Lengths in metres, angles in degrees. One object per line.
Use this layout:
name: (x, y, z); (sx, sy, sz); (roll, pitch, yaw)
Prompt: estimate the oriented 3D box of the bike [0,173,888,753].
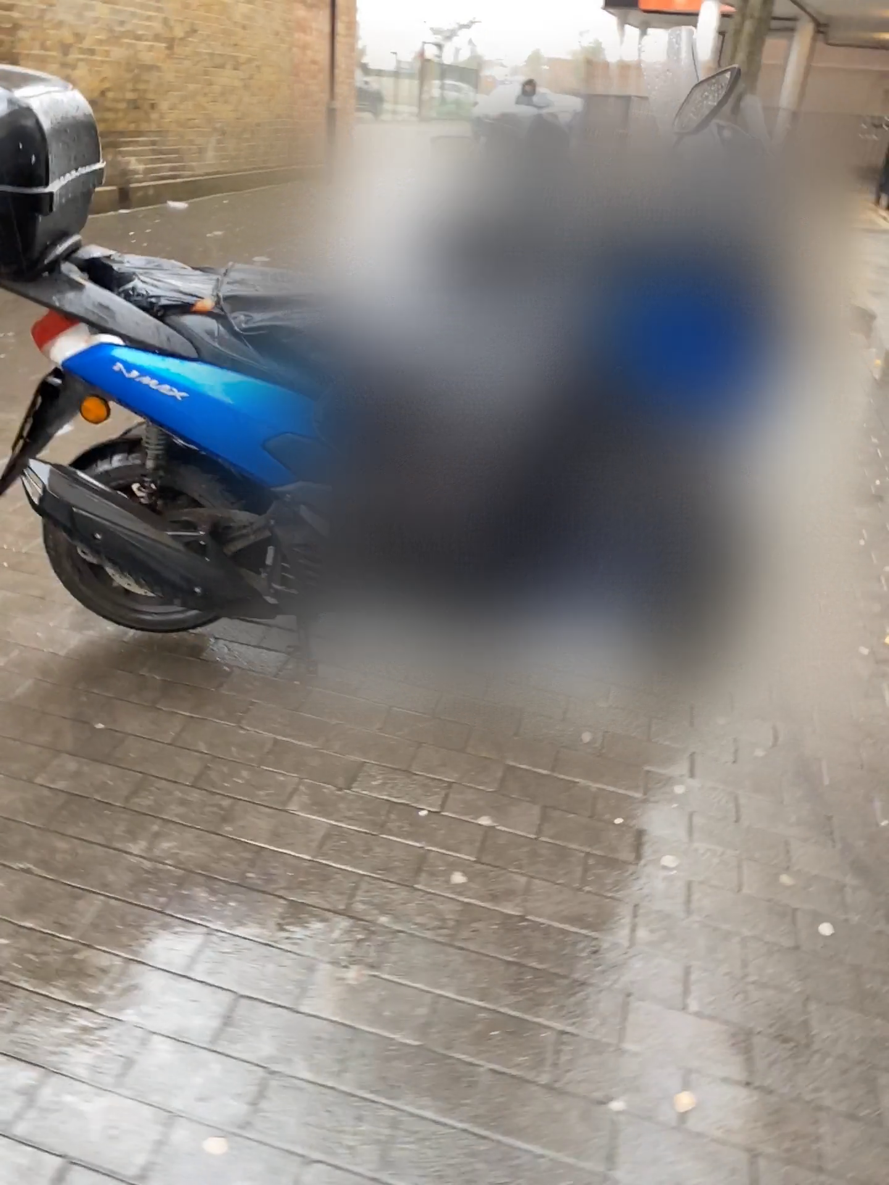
bike: (-0.017, -0.288, 2.017); (1.731, 0.998, 0.681); (0, 28, -10)
